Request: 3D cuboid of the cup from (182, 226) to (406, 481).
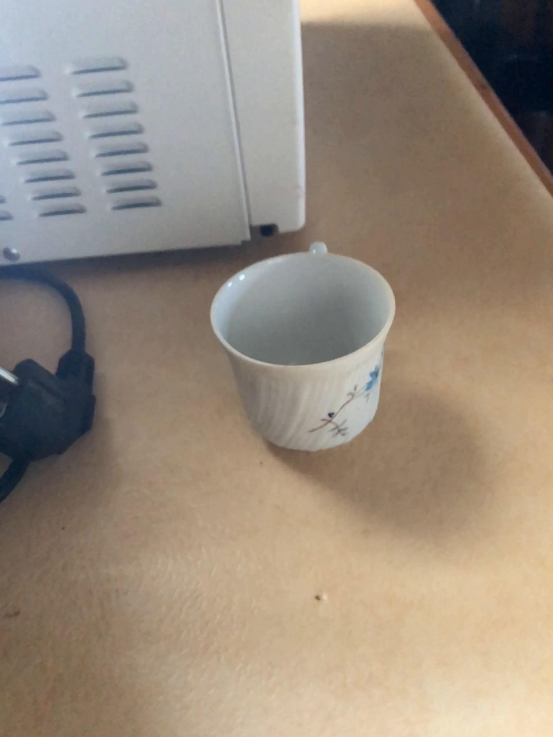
[{"bbox_3d":[0.013,-0.010,0.244,0.070,0.050,0.091,3,44,10],"label":"cup"}]
